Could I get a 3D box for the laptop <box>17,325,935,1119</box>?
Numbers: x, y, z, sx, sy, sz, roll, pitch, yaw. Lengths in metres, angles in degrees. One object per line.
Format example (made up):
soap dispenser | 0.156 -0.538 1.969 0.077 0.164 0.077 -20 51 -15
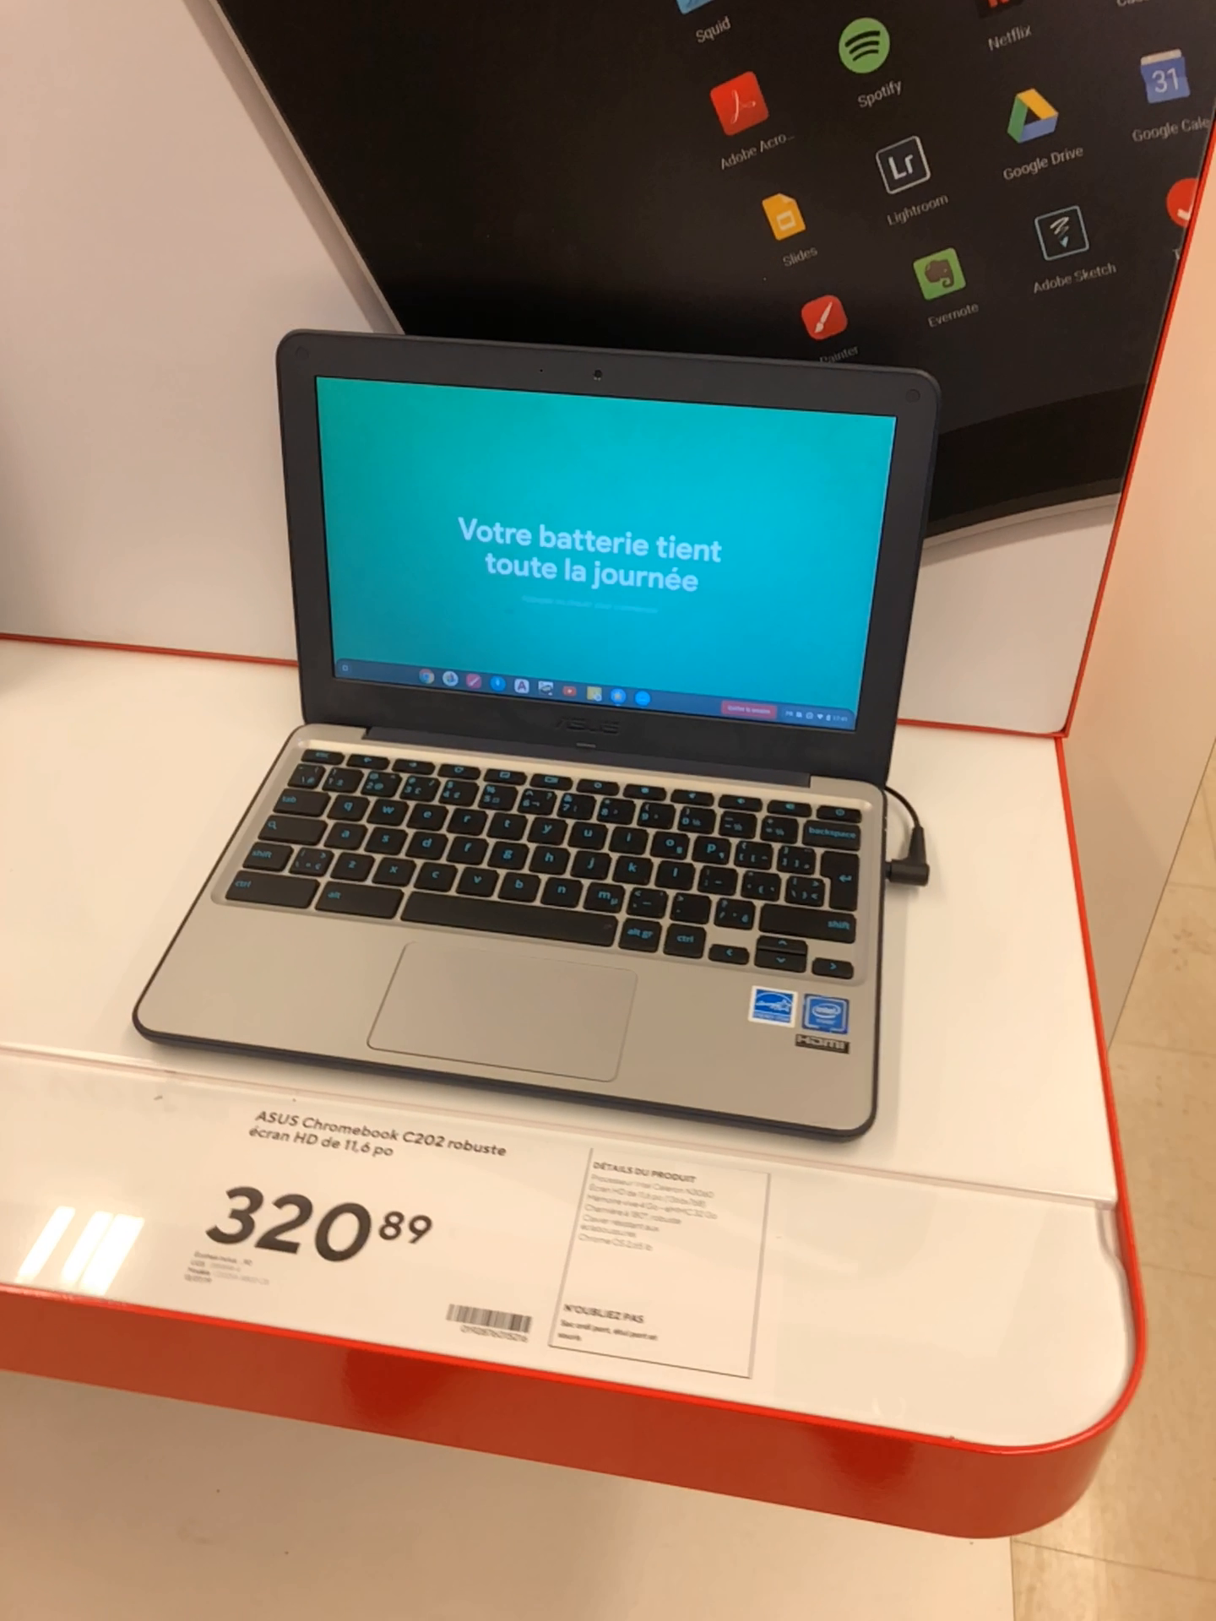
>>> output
laptop | -0.023 -0.048 0.529 0.274 0.174 0.231 6 42 8
